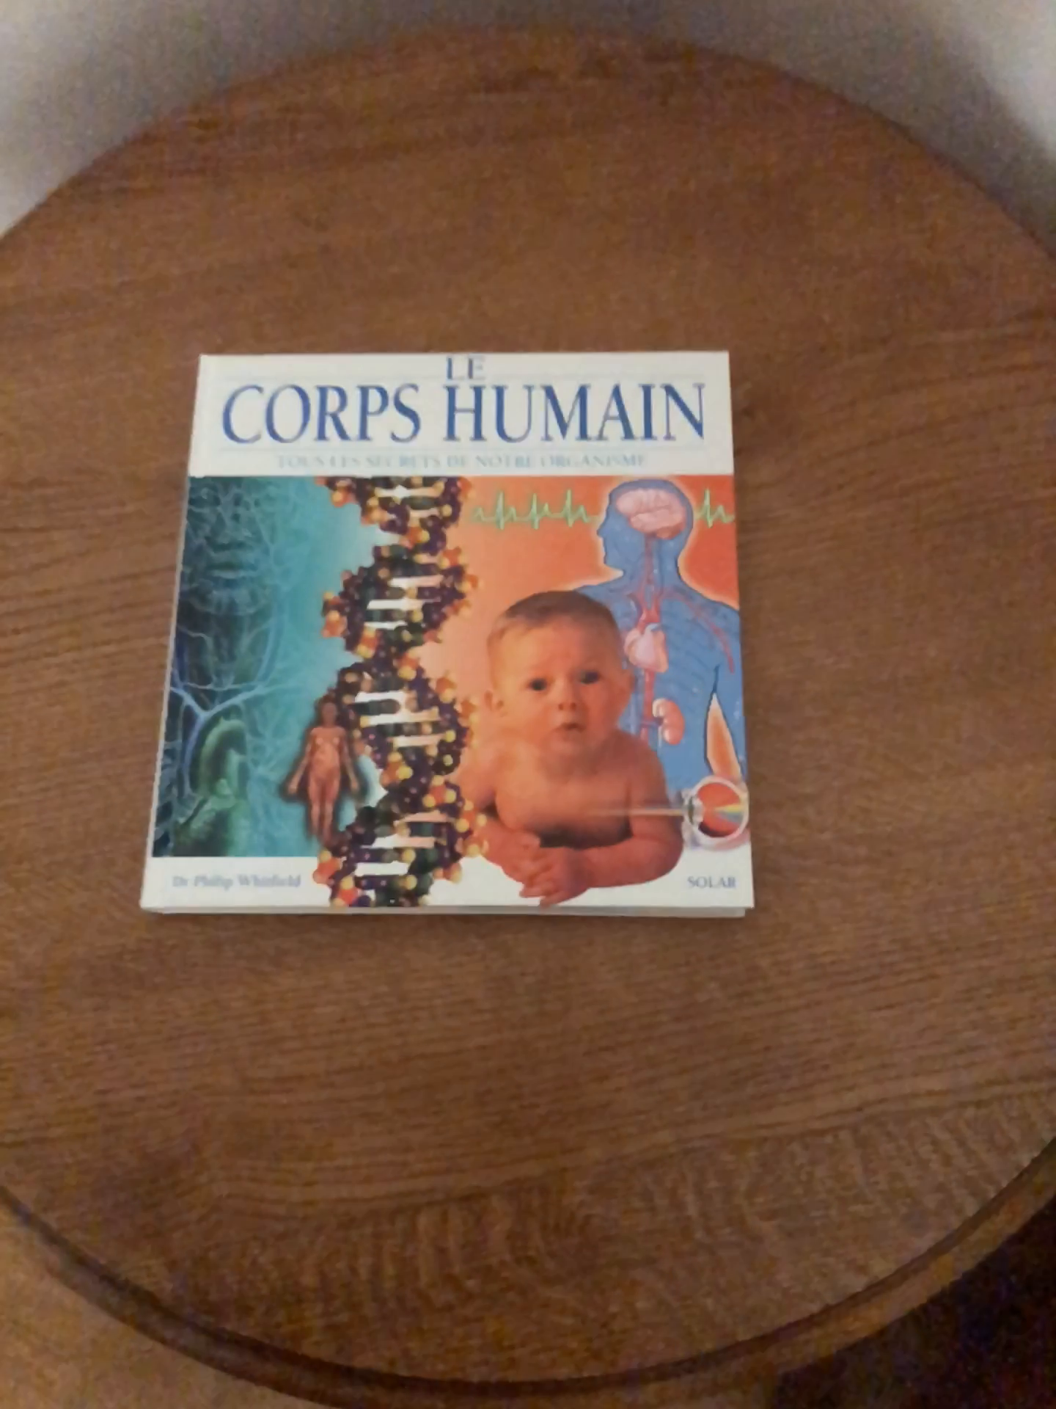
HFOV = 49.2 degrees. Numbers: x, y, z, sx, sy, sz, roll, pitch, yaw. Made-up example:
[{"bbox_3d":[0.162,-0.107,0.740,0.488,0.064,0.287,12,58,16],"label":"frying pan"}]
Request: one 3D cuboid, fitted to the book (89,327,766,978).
[{"bbox_3d":[-0.036,-0.031,0.519,0.270,0.040,0.290,1,73,2],"label":"book"}]
